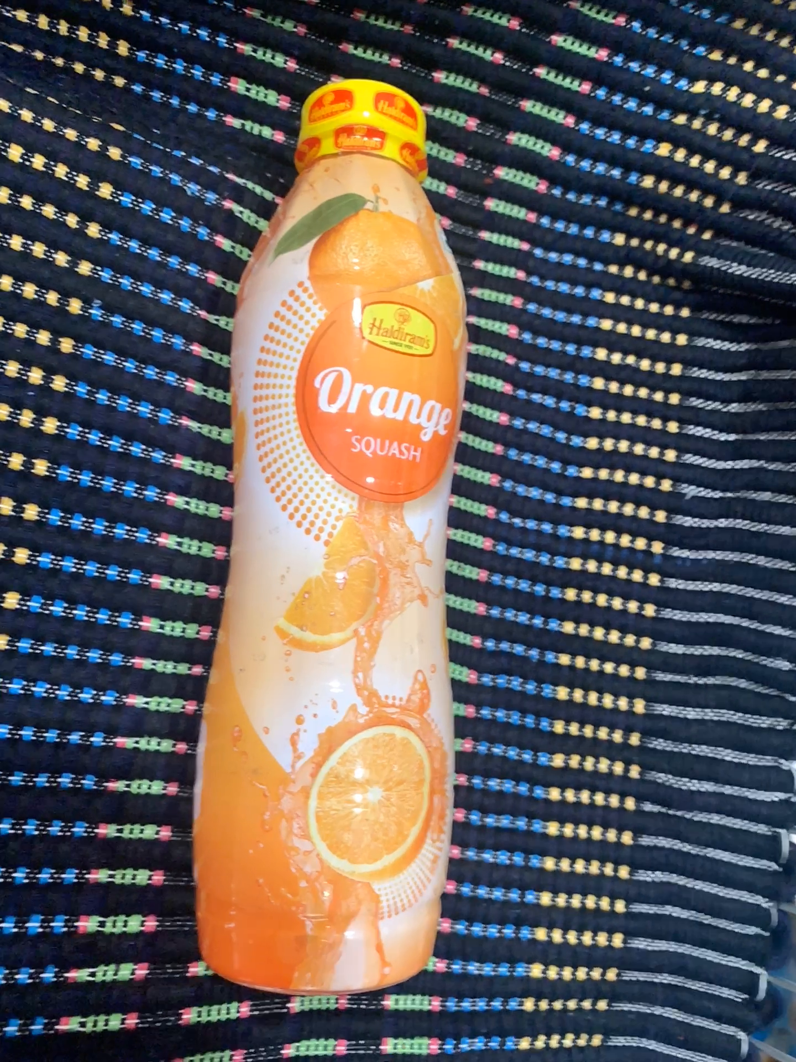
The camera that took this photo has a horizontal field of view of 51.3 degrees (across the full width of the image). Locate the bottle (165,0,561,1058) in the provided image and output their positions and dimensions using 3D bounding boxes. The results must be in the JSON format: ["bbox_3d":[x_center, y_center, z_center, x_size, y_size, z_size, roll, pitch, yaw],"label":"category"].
[{"bbox_3d":[-0.006,-0.009,0.232,0.080,0.060,0.250,8,78,-26],"label":"bottle"}]
